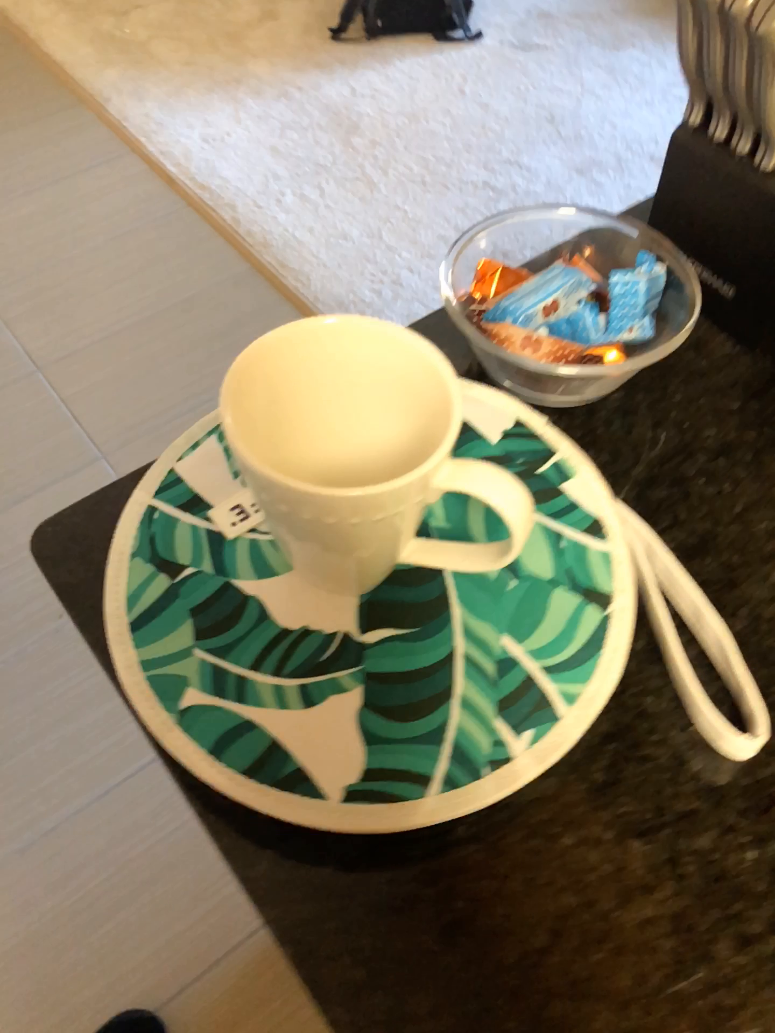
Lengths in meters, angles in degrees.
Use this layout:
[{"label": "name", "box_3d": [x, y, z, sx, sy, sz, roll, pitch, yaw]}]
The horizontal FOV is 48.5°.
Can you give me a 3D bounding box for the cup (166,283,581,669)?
[{"label": "cup", "box_3d": [-0.003, -0.018, 0.358, 0.130, 0.090, 0.090, 19, 56, 14]}]
